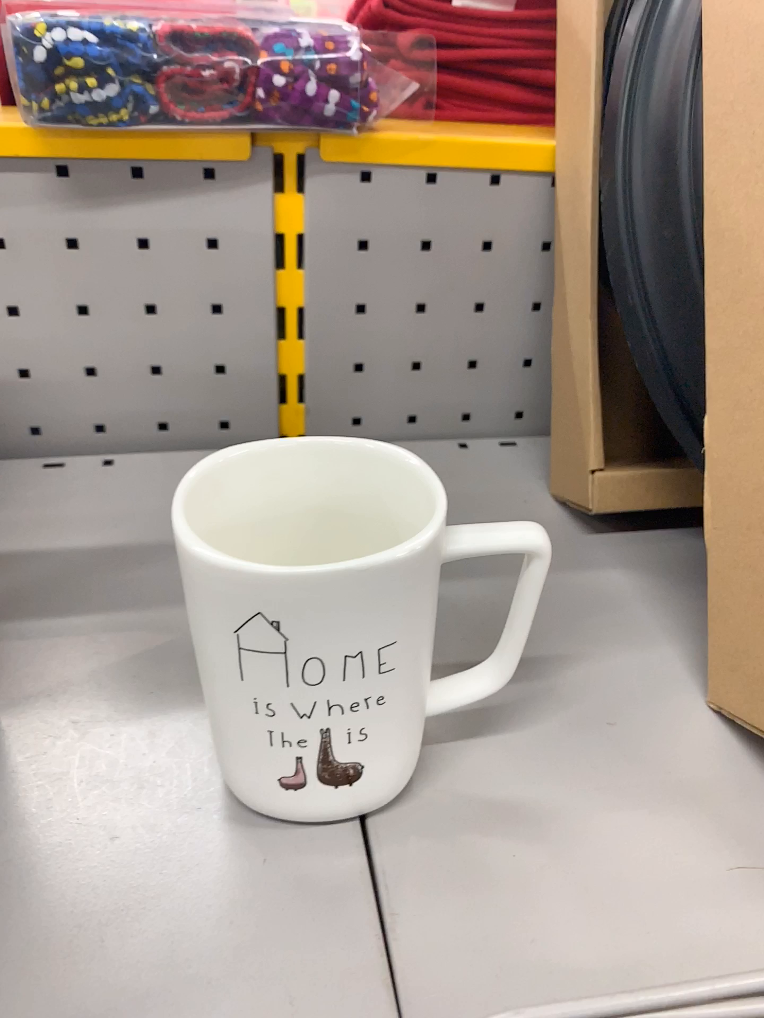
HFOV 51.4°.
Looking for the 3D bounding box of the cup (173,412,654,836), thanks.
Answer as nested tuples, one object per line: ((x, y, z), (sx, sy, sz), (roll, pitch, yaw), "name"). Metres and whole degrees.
((0.002, 0.032, 0.248), (0.120, 0.100, 0.070), (-3, 32, -11), "cup")
